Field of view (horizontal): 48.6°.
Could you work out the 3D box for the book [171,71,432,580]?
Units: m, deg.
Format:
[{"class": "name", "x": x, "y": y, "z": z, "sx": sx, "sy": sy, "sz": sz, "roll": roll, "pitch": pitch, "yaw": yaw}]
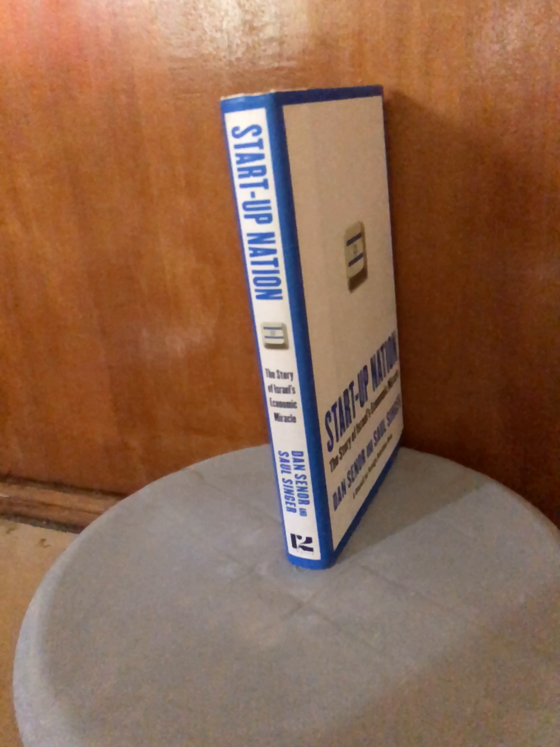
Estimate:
[{"class": "book", "x": 0.035, "y": -0.042, "z": 0.359, "sx": 0.040, "sy": 0.229, "sz": 0.201, "roll": 3, "pitch": 22, "yaw": 29}]
